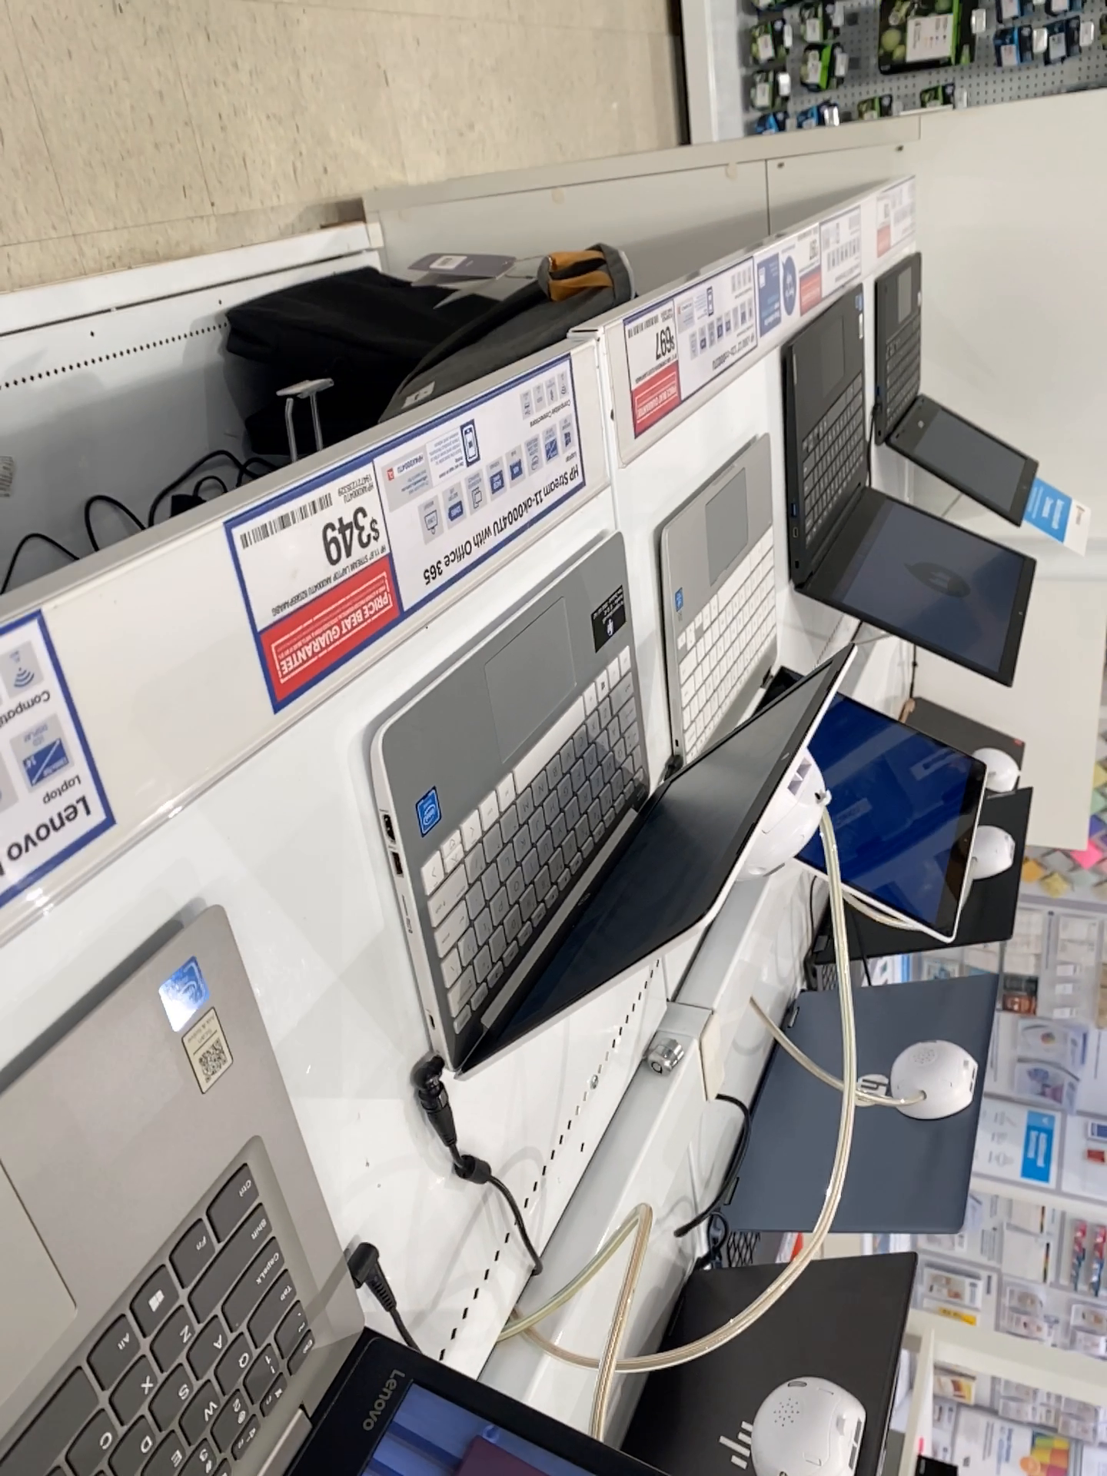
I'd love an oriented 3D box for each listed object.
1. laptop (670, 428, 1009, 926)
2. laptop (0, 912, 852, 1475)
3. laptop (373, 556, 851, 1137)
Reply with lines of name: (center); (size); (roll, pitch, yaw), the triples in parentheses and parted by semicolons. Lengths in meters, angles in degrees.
laptop: (0.235, -0.060, 0.892); (0.258, 0.189, 0.297); (-49, 138, -52)
laptop: (-0.068, 0.271, 0.286); (0.327, 0.212, 0.275); (-50, 138, -51)
laptop: (0.057, 0.032, 0.605); (0.278, 0.139, 0.181); (-48, 135, -53)
